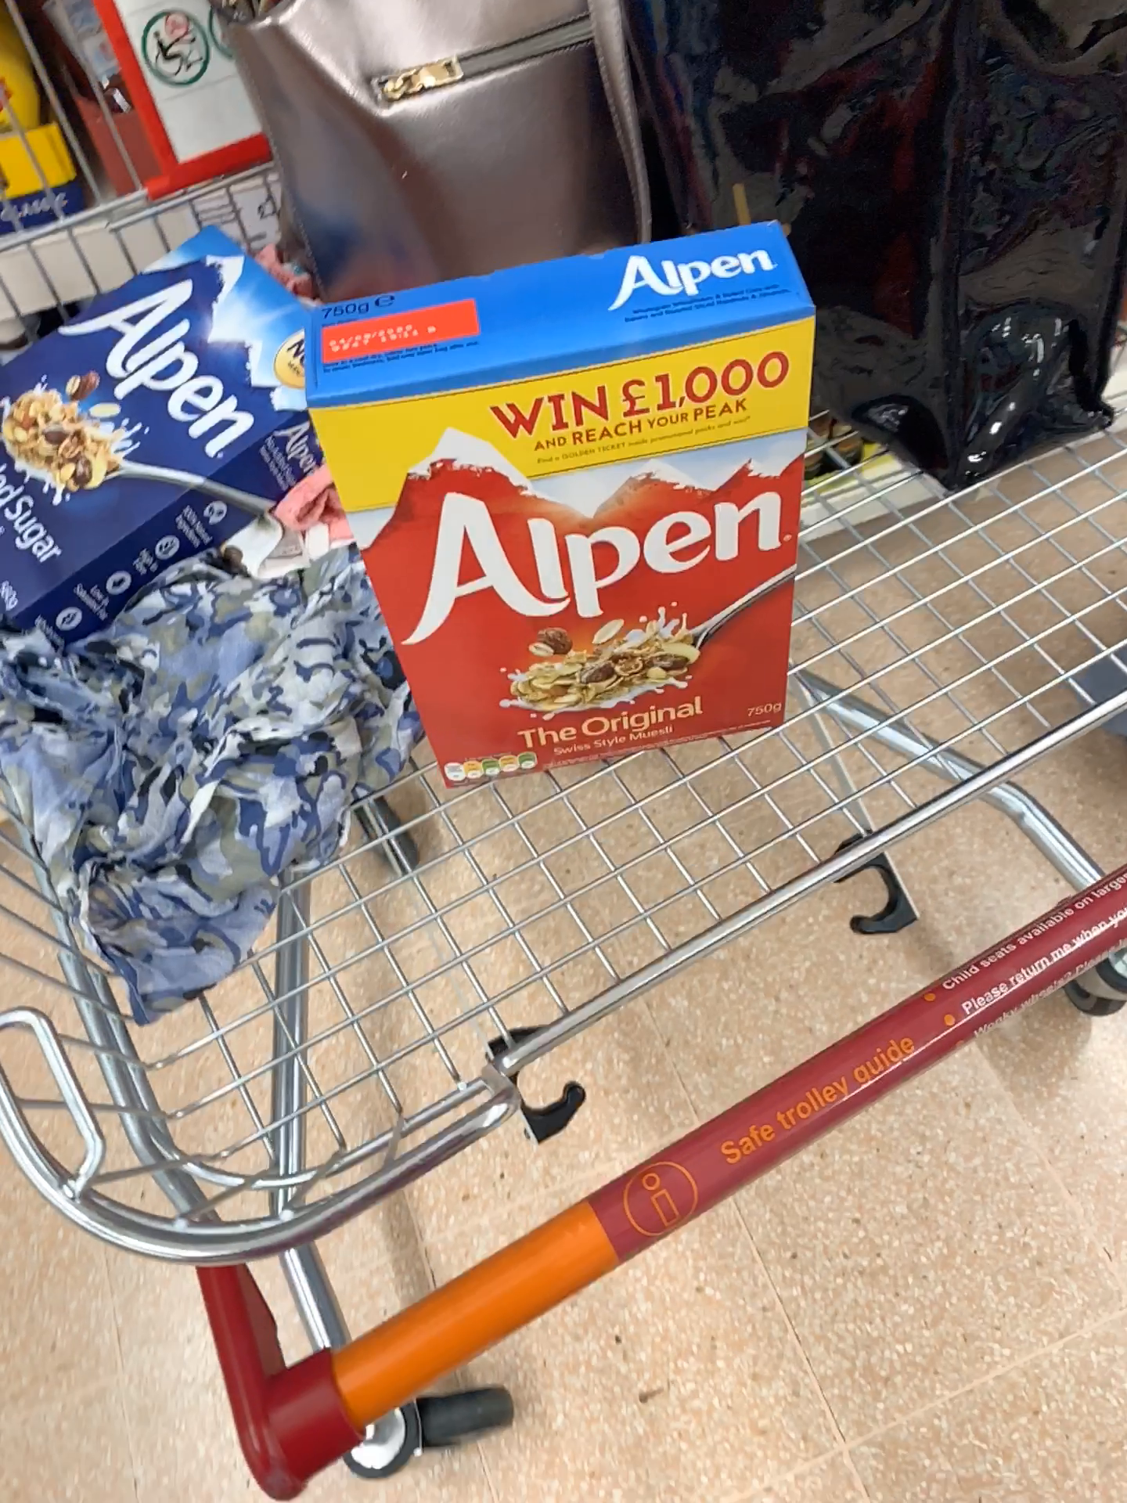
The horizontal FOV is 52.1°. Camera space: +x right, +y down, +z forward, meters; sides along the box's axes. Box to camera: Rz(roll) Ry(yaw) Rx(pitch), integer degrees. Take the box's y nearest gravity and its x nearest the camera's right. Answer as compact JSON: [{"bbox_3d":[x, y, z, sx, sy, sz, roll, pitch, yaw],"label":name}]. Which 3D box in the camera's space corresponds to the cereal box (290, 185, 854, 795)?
[{"bbox_3d":[0.009,-0.089,0.486,0.180,0.248,0.060,-11,56,-2],"label":"cereal box"}]
